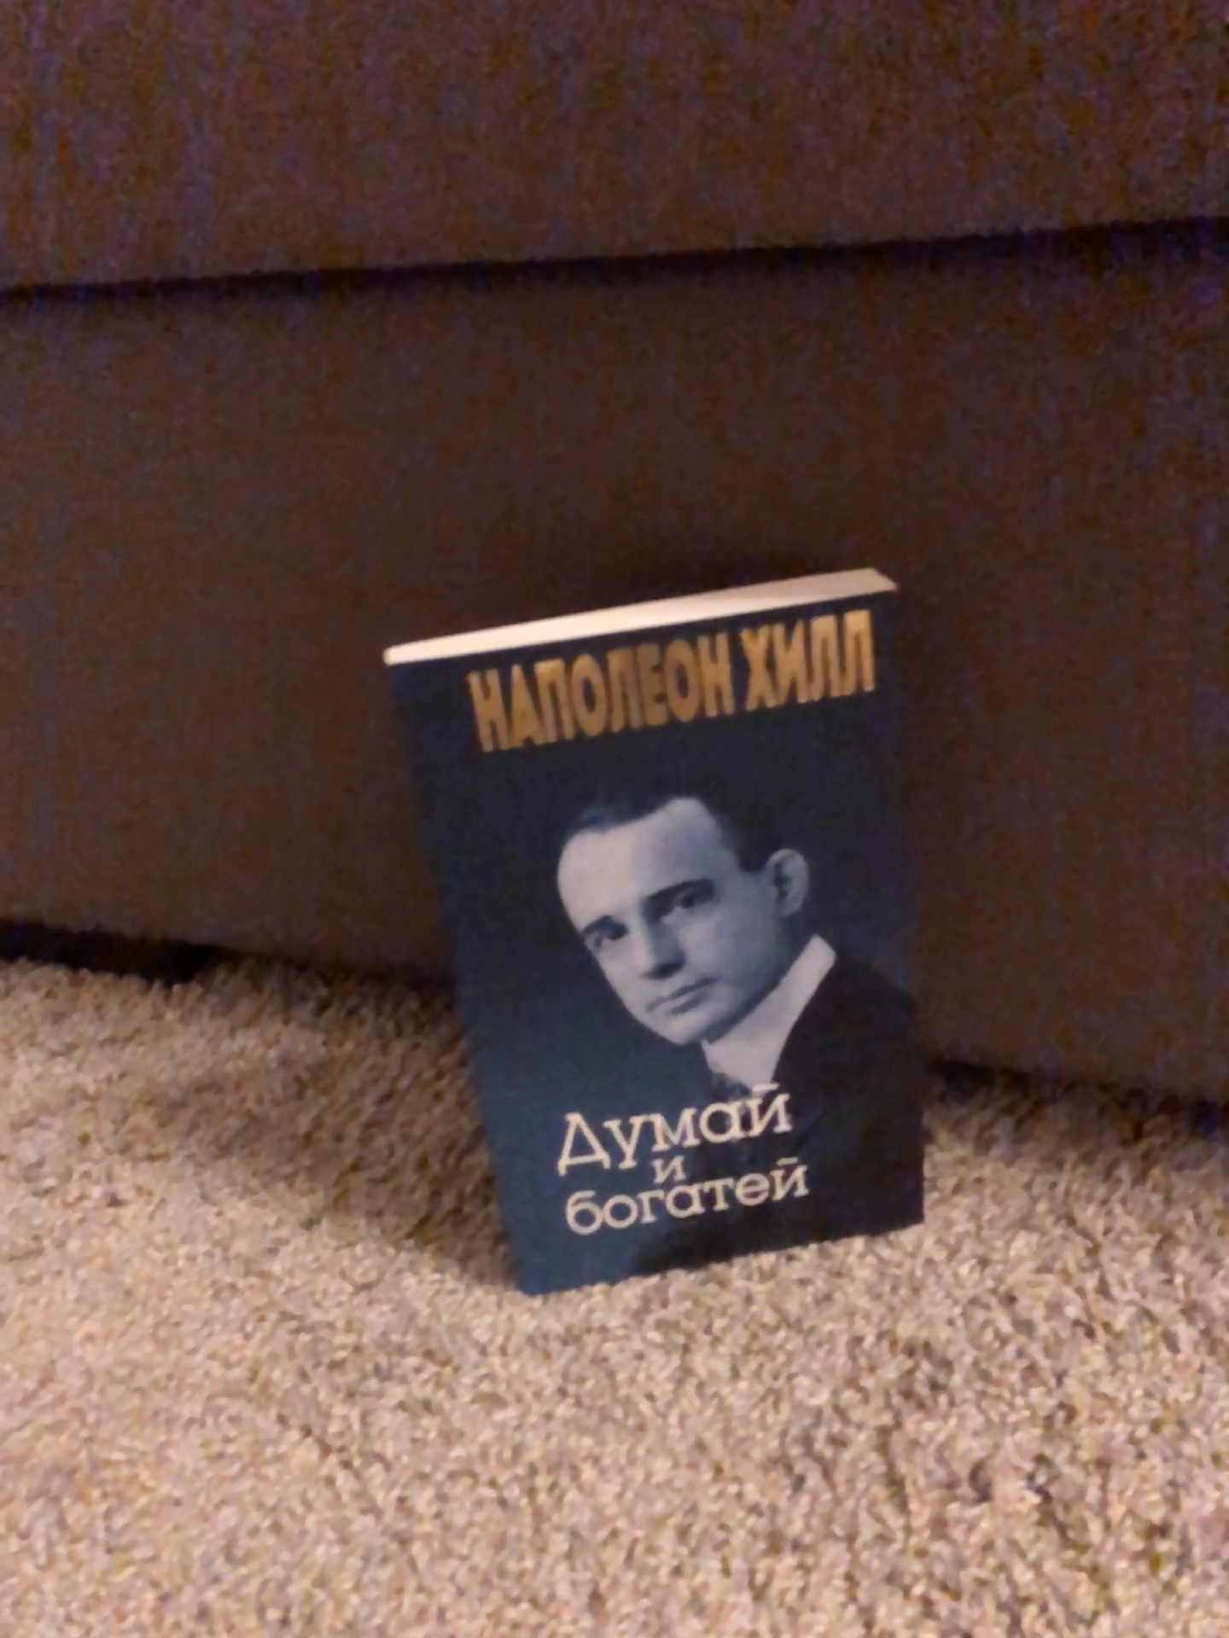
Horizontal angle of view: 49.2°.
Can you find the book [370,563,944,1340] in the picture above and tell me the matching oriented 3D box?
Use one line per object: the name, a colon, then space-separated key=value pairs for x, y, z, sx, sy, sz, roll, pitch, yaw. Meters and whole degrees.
book: x=0.018 y=0.041 z=0.362 sx=0.132 sy=0.198 sz=0.030 roll=-9 pitch=23 yaw=-5
